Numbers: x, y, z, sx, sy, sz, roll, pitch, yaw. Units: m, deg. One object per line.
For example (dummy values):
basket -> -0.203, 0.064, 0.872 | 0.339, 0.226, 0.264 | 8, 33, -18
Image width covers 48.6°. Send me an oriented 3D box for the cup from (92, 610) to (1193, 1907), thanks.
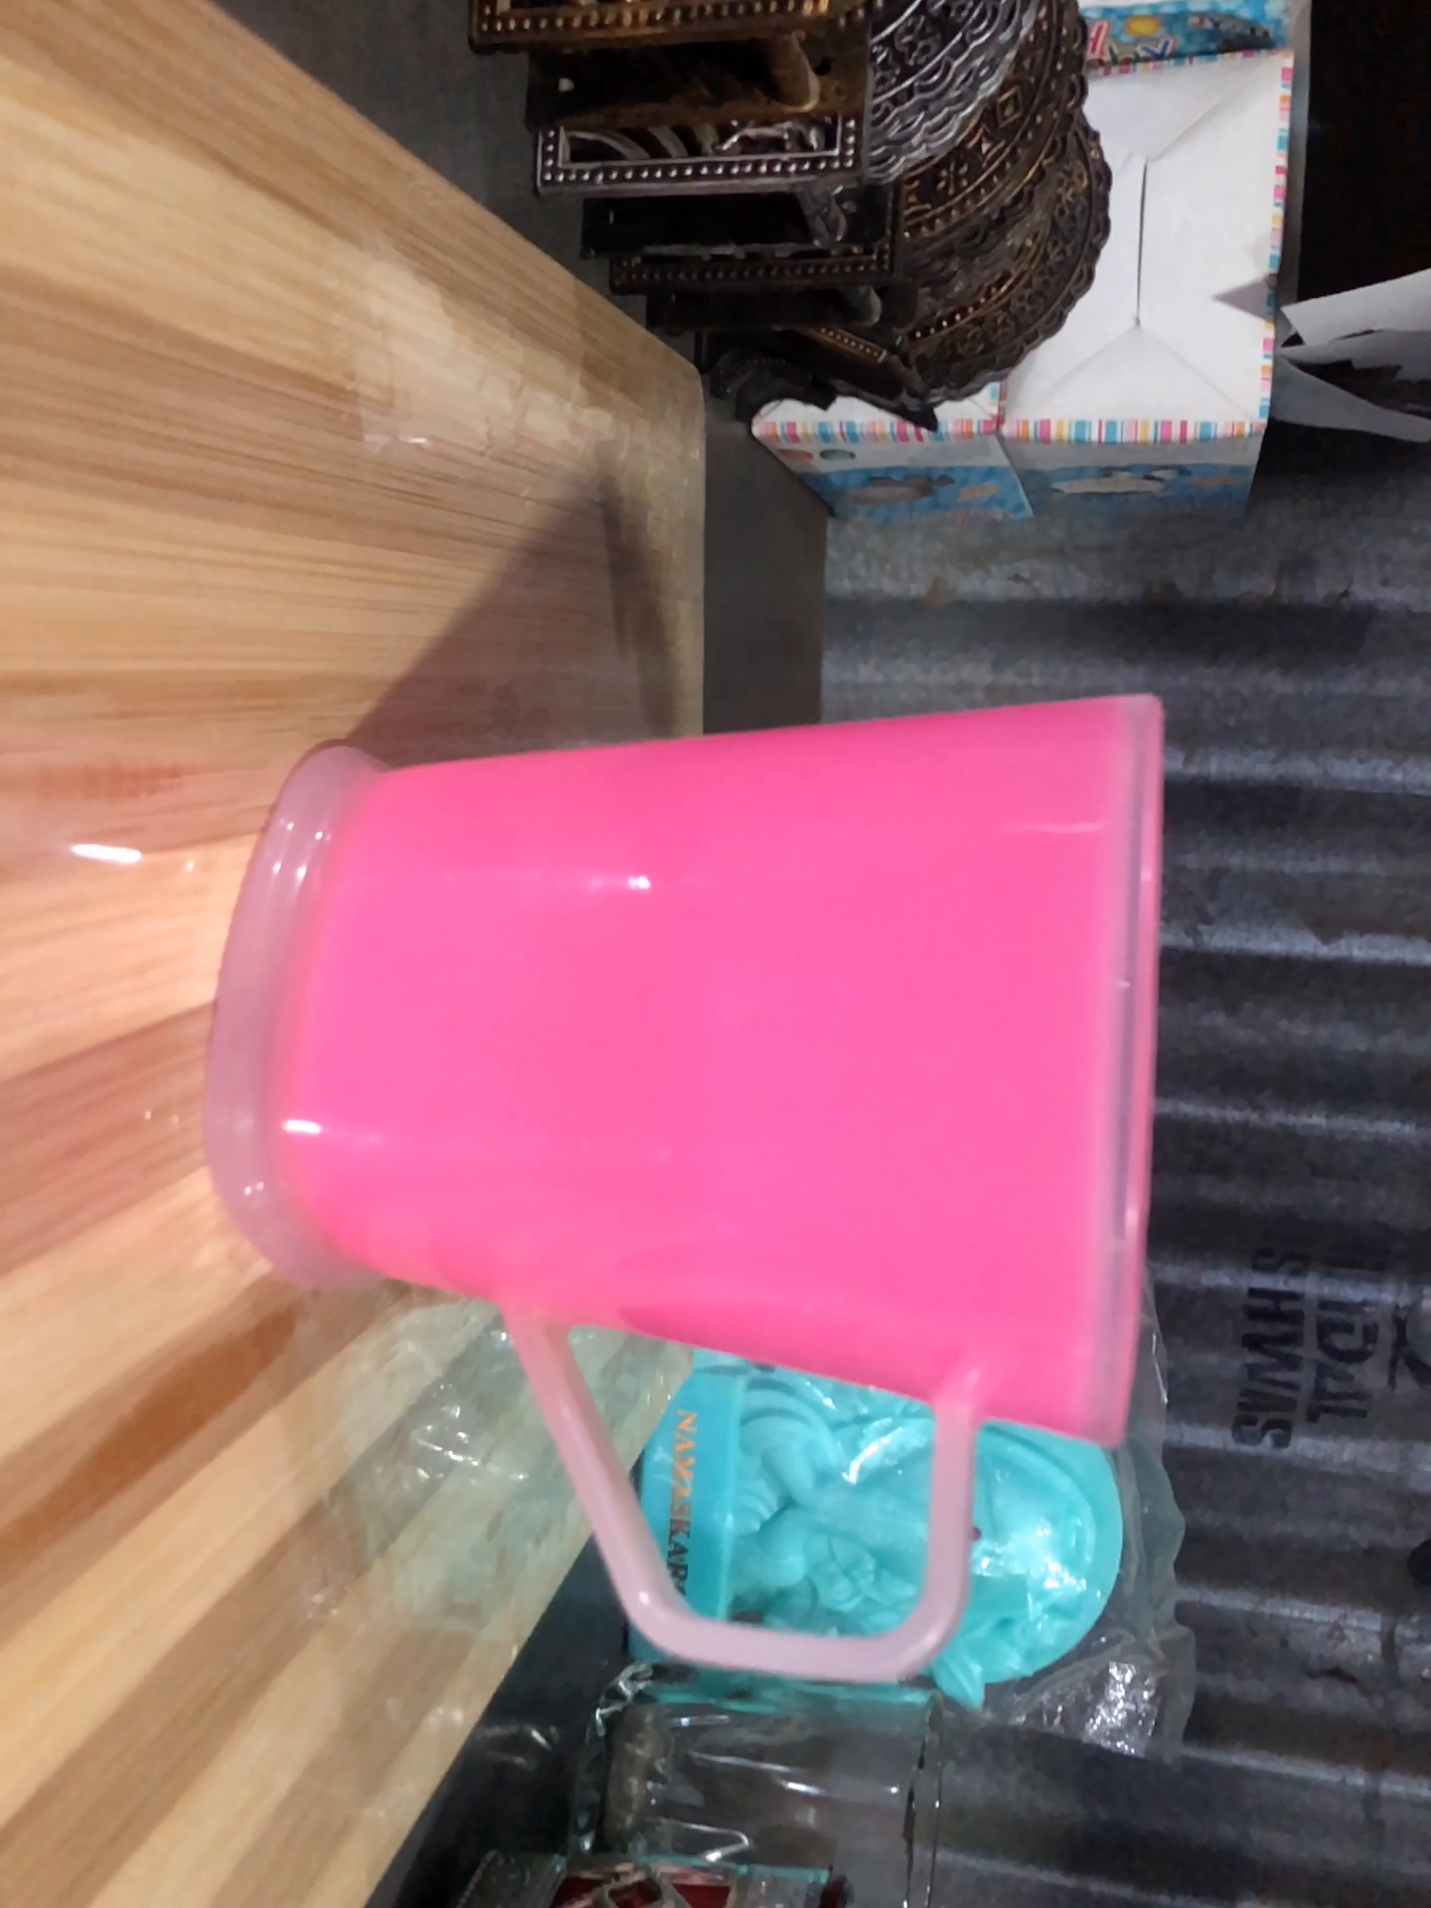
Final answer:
cup -> 0.001, 0.030, 0.194 | 0.070, 0.100, 0.120 | 54, 41, -72
